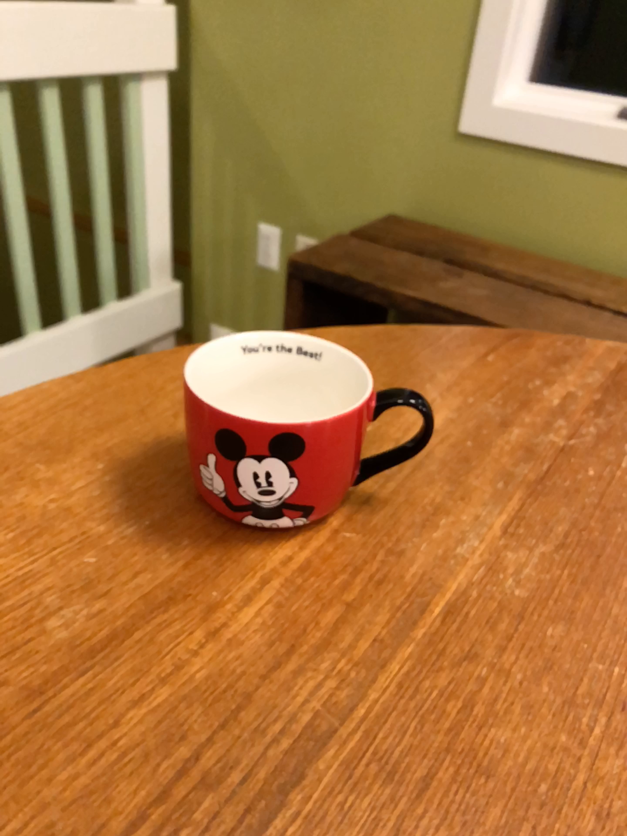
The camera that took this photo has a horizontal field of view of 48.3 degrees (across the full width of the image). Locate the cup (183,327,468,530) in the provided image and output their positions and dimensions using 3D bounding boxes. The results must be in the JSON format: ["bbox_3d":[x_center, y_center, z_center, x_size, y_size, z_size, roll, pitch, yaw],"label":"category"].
[{"bbox_3d":[-0.001,0.003,0.405,0.142,0.069,0.103,0,32,-9],"label":"cup"}]
